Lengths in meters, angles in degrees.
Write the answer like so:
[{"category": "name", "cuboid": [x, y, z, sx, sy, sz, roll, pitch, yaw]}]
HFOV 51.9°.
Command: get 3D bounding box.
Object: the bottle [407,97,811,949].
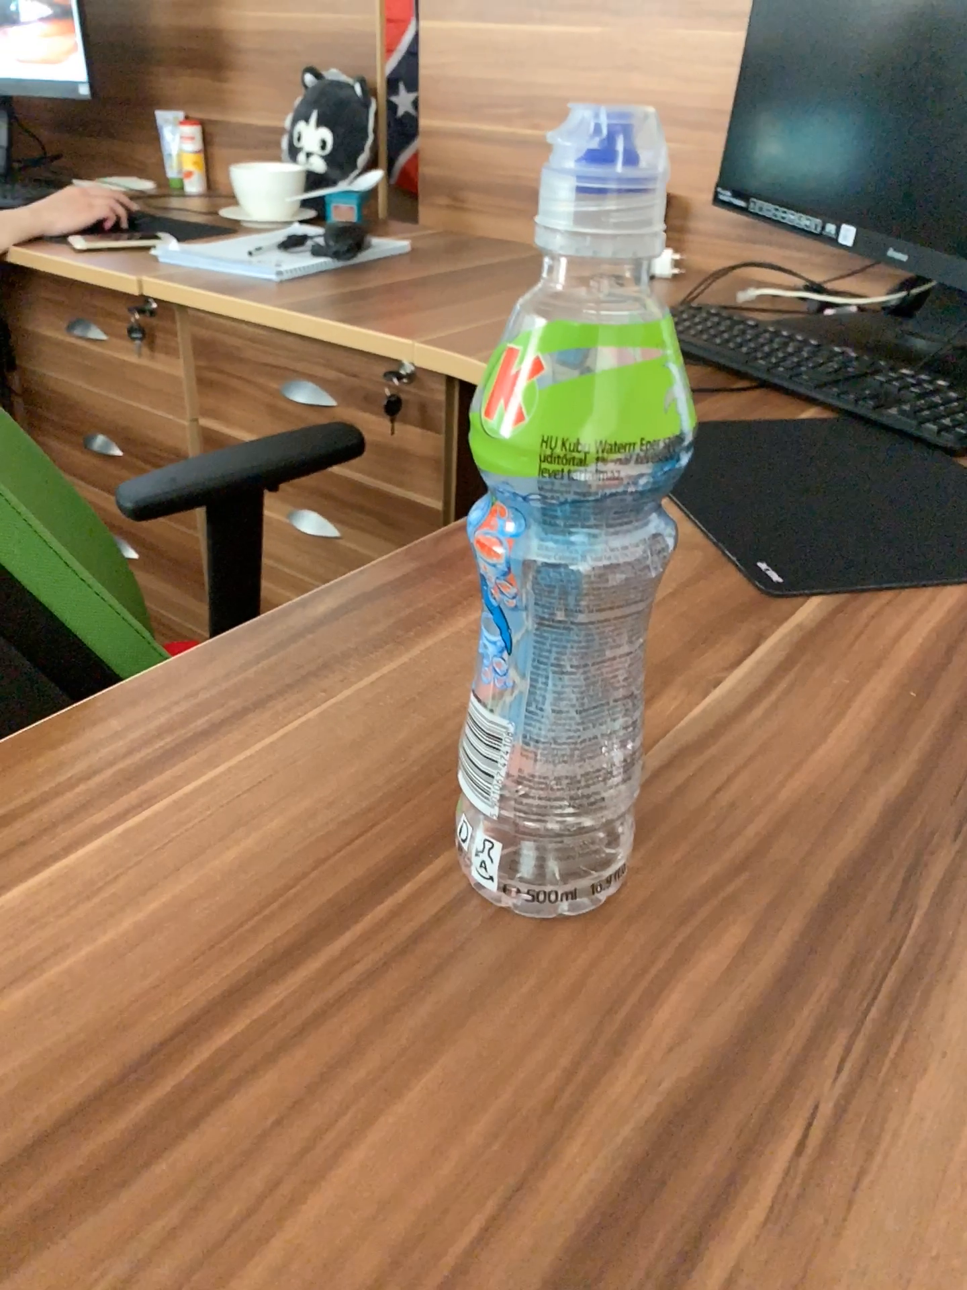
[{"category": "bottle", "cuboid": [0.024, -0.028, 0.303, 0.070, 0.239, 0.070, 2, 30, -1]}]
